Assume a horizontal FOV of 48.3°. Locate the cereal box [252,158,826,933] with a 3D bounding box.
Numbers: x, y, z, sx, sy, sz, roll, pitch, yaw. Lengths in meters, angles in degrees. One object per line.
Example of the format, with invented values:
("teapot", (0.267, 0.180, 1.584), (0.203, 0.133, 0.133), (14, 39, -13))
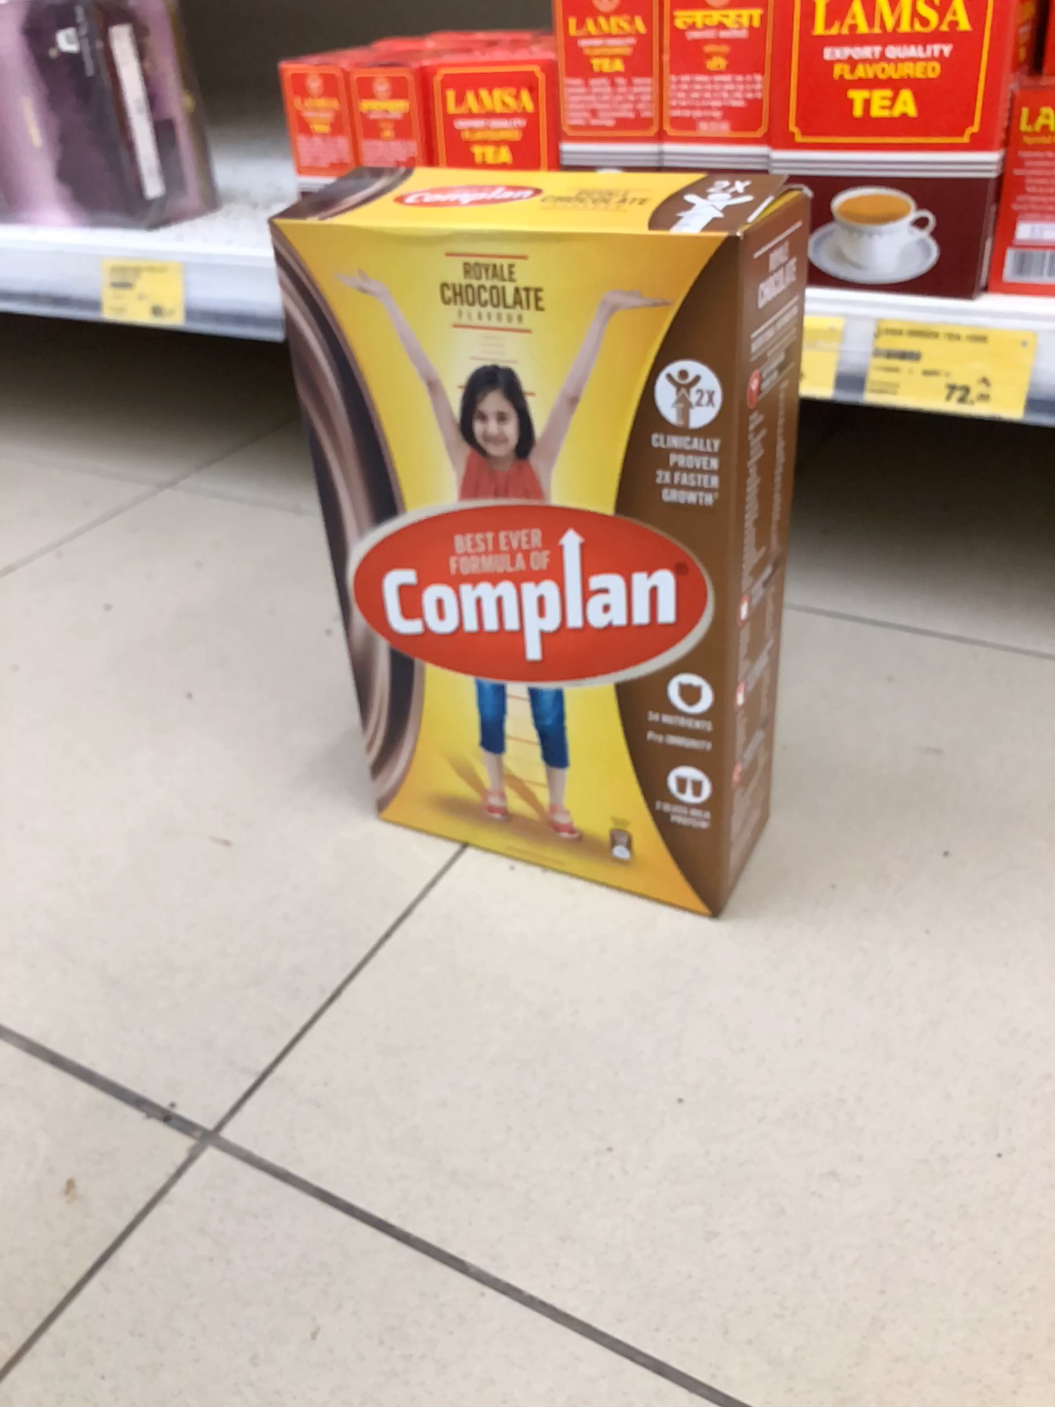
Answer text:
("cereal box", (0.010, -0.054, 0.424), (0.160, 0.248, 0.070), (13, 37, 25))
